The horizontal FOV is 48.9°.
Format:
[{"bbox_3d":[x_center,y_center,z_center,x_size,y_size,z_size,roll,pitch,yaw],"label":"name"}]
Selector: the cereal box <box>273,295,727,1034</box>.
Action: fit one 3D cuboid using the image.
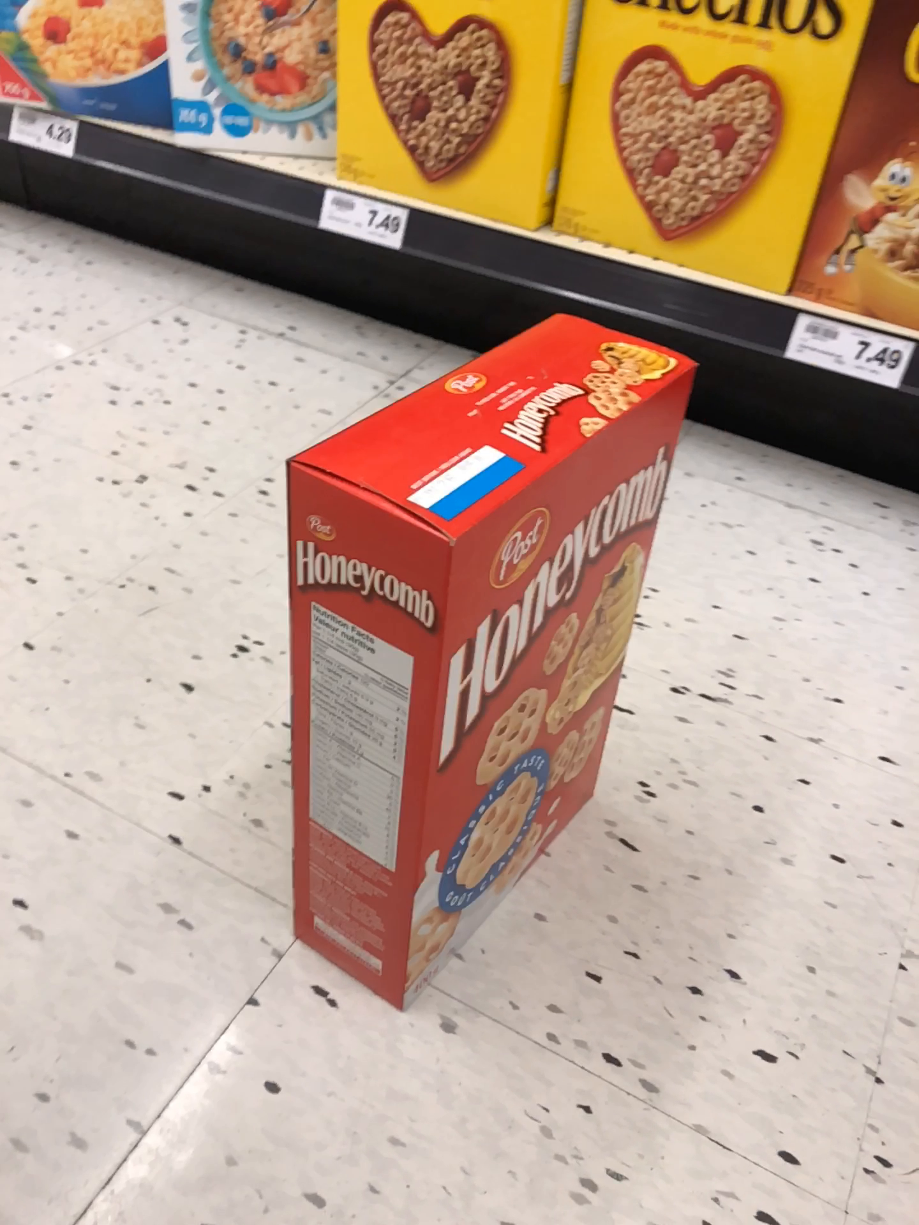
[{"bbox_3d":[0.014,0.029,0.490,0.080,0.298,0.201,28,43,25],"label":"cereal box"}]
